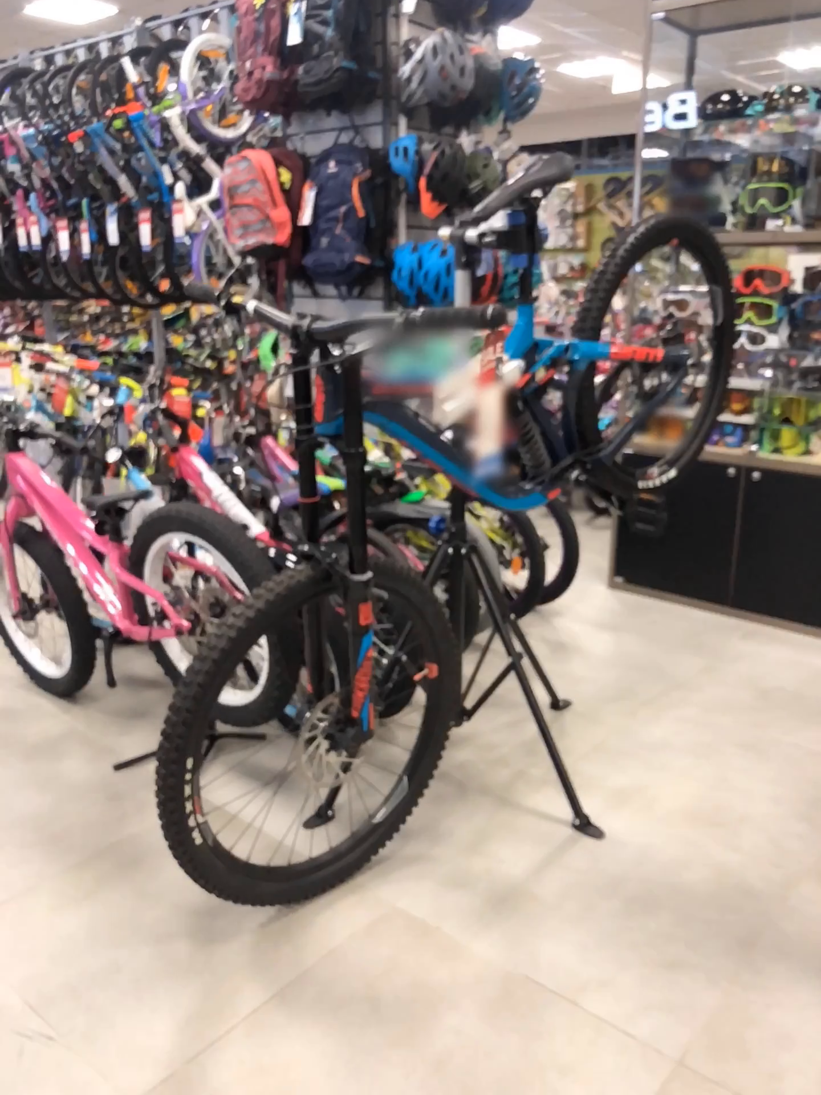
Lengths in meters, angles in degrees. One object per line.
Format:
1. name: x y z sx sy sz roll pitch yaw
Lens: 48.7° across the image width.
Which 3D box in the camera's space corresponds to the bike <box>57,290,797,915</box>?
1. bike: 0.069 -0.067 1.874 1.526 0.182 0.661 -40 37 -26
